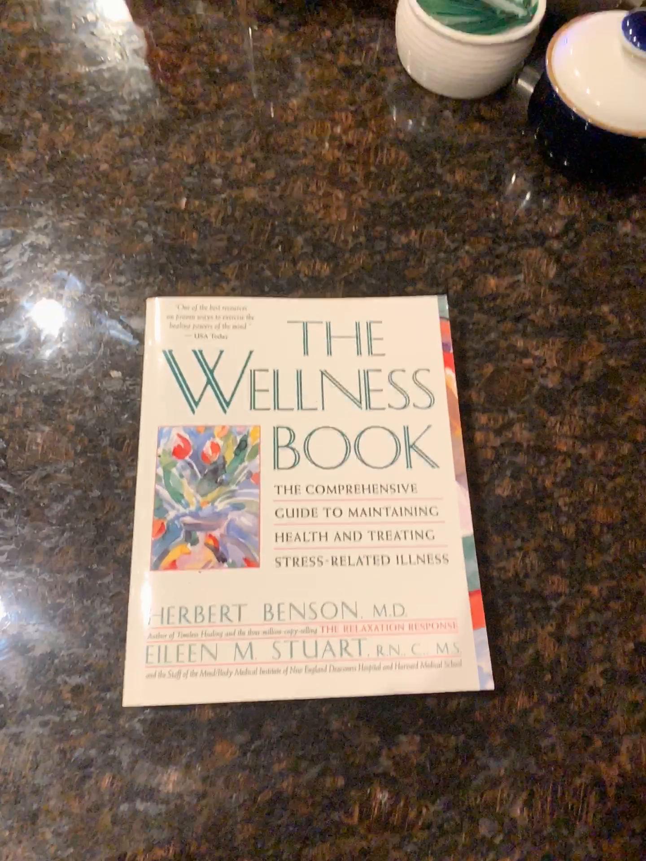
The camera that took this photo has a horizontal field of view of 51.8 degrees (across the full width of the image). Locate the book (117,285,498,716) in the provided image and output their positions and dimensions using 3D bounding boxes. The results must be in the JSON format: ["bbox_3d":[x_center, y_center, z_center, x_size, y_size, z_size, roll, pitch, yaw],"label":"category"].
[{"bbox_3d":[-0.012,0.034,0.396,0.187,0.060,0.240,-1,70,-4],"label":"book"}]
